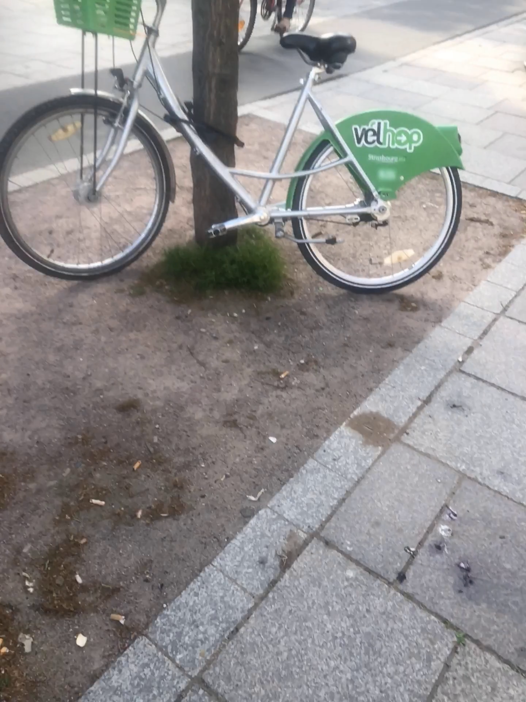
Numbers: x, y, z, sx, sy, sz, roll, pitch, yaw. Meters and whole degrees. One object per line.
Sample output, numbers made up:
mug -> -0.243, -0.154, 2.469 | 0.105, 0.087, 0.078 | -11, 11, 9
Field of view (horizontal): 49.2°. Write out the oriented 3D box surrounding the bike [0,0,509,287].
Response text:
bike -> -0.072, -0.823, 2.079 | 1.719, 1.114, 0.313 | -5, 38, -13
